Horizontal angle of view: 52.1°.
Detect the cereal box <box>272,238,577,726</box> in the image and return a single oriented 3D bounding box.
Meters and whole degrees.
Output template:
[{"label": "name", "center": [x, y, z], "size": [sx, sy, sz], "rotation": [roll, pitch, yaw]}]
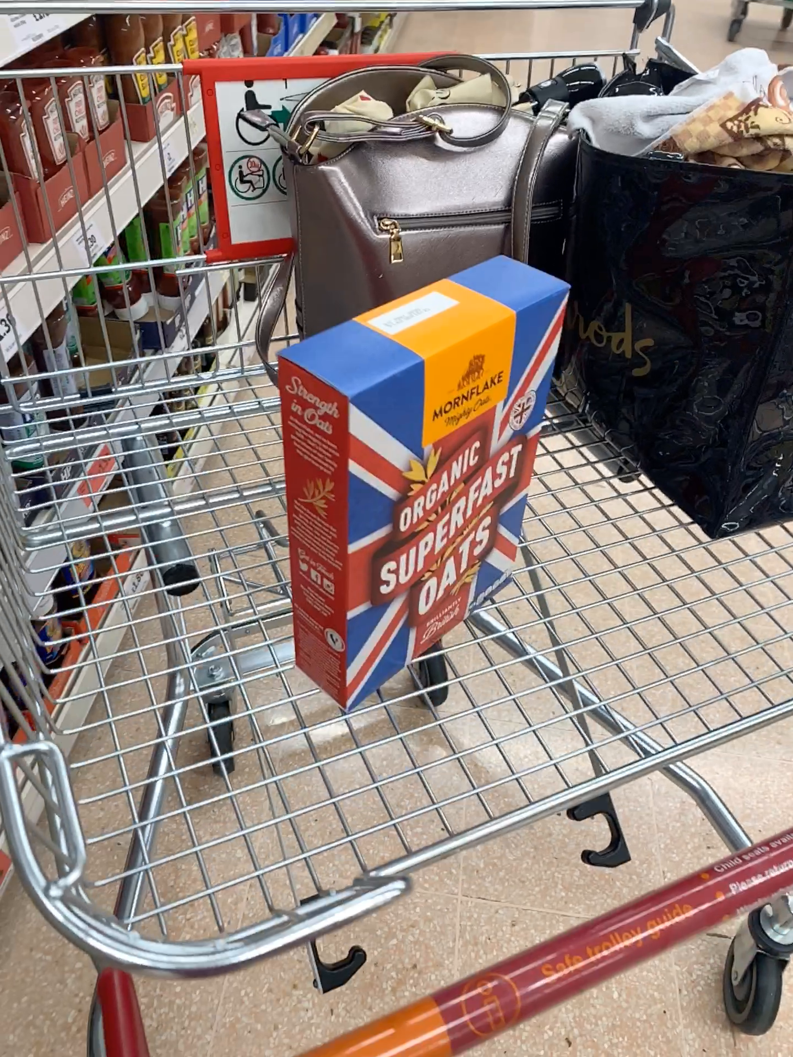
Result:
[{"label": "cereal box", "center": [0.016, -0.023, 0.503], "size": [0.050, 0.258, 0.181], "rotation": [33, 49, 30]}]
